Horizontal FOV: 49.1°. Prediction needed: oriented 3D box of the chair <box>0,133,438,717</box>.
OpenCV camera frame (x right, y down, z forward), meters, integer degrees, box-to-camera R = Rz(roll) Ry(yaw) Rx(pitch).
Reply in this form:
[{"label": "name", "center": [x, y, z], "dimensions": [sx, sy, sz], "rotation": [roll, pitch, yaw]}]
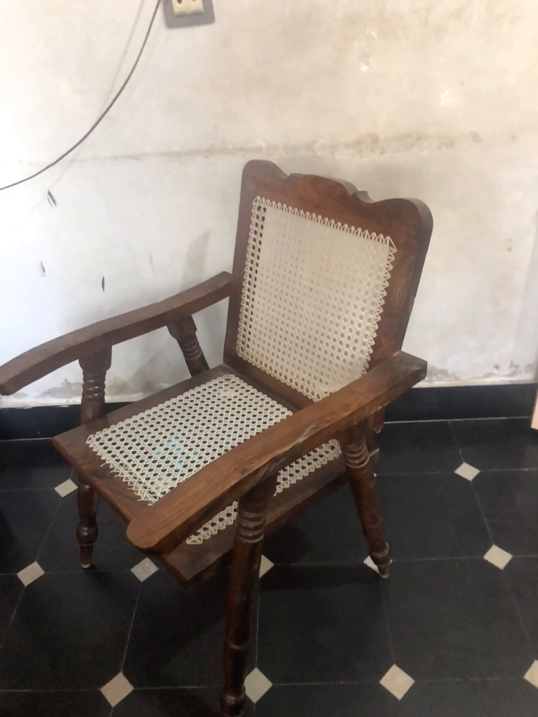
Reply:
[{"label": "chair", "center": [-0.128, 0.096, 1.093], "dimensions": [0.562, 0.796, 0.581], "rotation": [-32, 42, -33]}]
